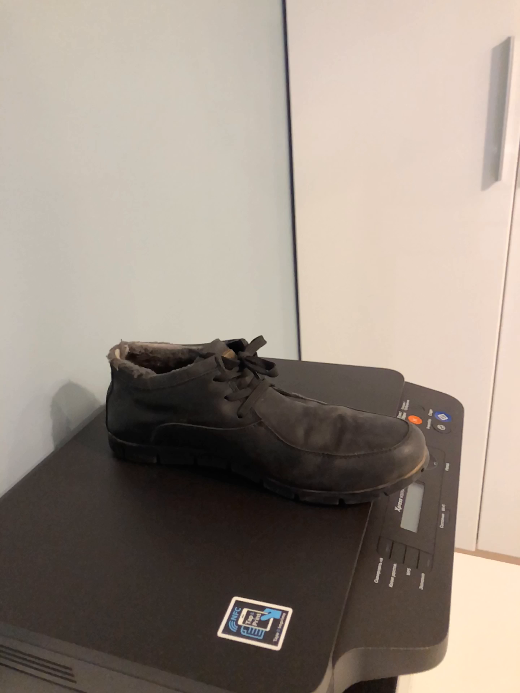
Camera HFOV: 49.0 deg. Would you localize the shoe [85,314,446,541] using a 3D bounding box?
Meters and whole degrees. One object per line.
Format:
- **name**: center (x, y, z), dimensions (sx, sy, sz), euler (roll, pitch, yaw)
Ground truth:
- **shoe**: center (0.006, 0.055, 0.496), dimensions (0.280, 0.109, 0.111), euler (7, 26, 23)
